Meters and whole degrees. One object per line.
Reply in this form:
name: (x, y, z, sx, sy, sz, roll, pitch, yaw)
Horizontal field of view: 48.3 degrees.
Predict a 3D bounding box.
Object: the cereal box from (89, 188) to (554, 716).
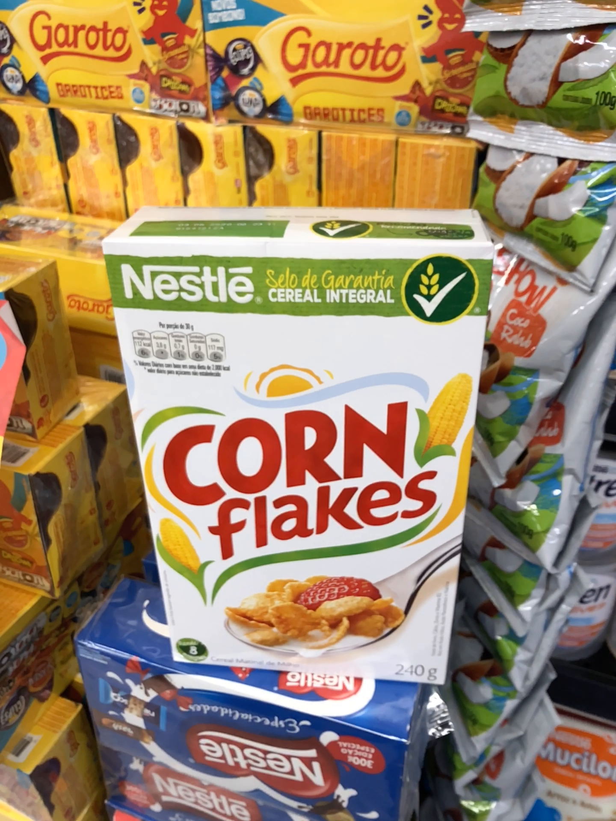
cereal box: (0.005, 0.029, 0.335, 0.170, 0.248, 0.060, 4, 29, 8)
